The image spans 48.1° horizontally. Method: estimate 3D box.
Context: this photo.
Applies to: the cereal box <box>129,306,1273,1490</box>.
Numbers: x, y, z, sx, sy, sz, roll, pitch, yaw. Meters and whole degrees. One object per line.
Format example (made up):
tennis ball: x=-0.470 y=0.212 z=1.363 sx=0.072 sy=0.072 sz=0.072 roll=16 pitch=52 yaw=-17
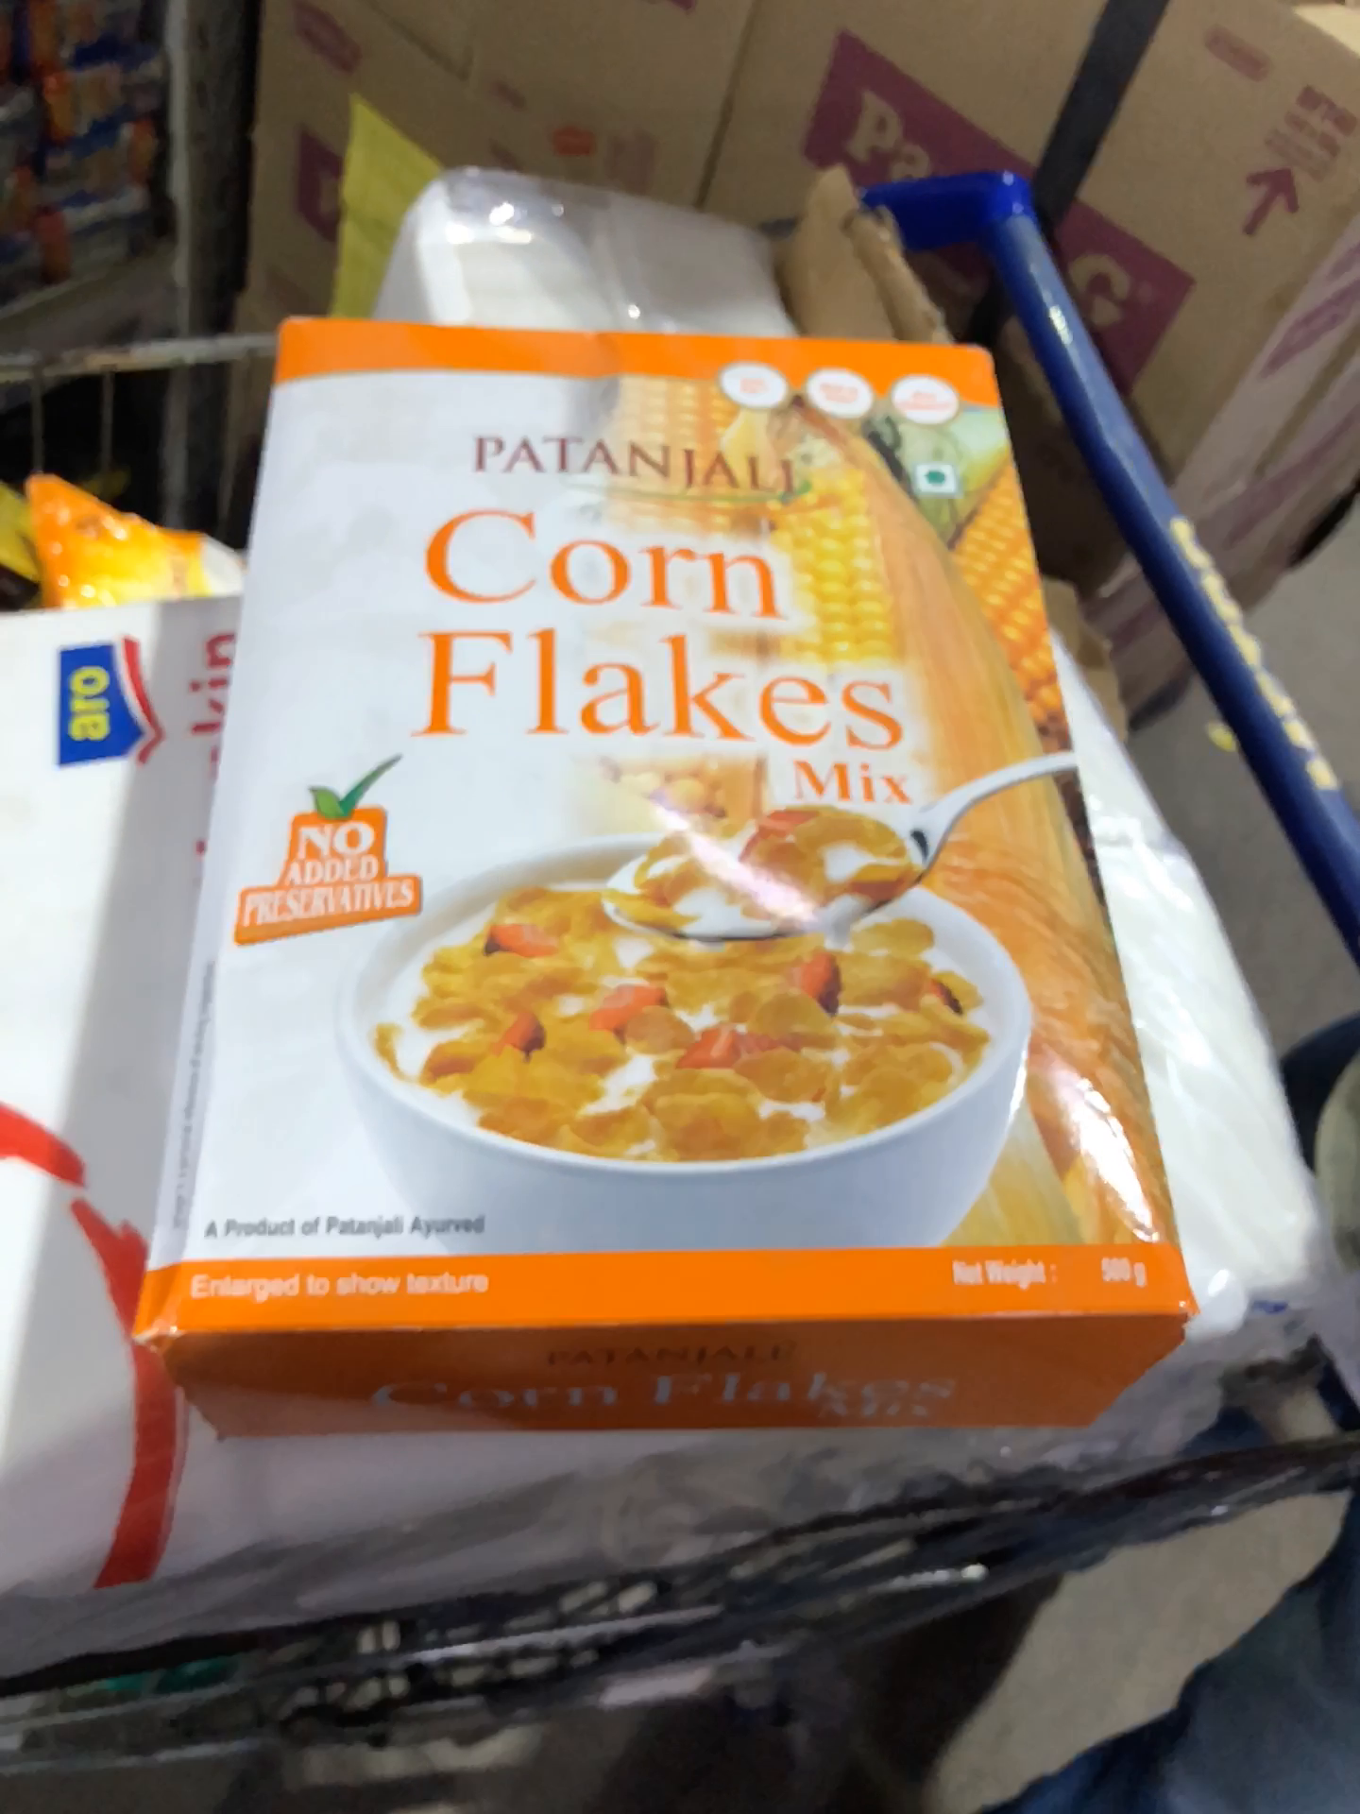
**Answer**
cereal box: x=-0.004 y=-0.014 z=0.365 sx=0.200 sy=0.080 sz=0.271 roll=0 pitch=60 yaw=-7
